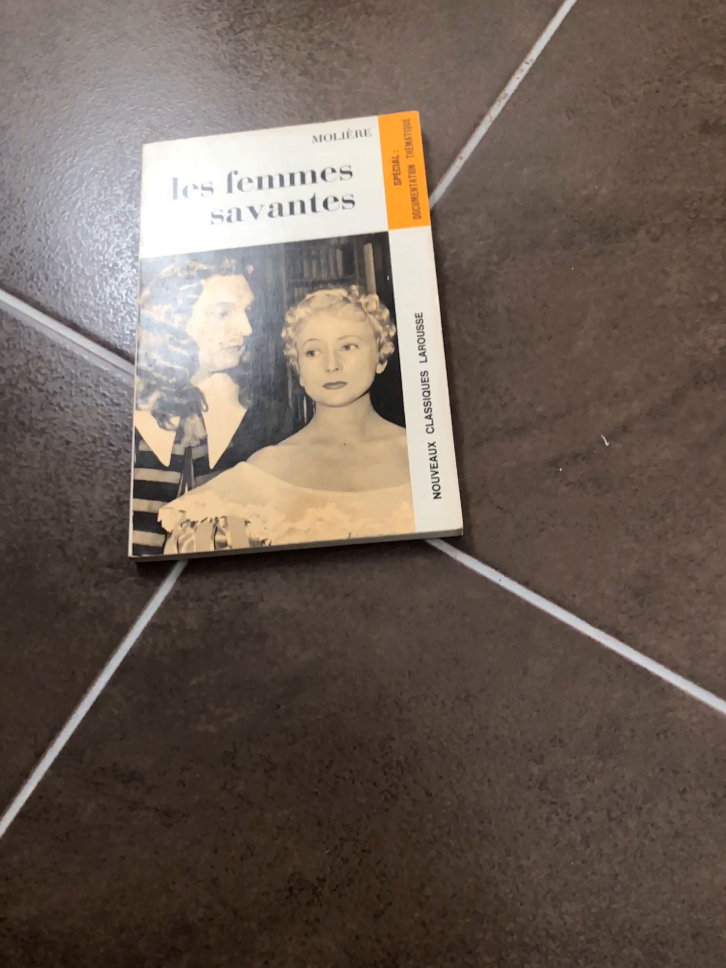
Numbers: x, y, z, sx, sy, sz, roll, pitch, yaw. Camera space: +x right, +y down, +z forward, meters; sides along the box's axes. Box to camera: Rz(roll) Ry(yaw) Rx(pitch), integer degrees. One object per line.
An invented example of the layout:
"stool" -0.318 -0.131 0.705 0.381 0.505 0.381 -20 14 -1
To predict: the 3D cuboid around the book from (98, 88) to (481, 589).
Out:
"book" -0.029 -0.054 0.282 0.120 0.020 0.170 -5 74 3
